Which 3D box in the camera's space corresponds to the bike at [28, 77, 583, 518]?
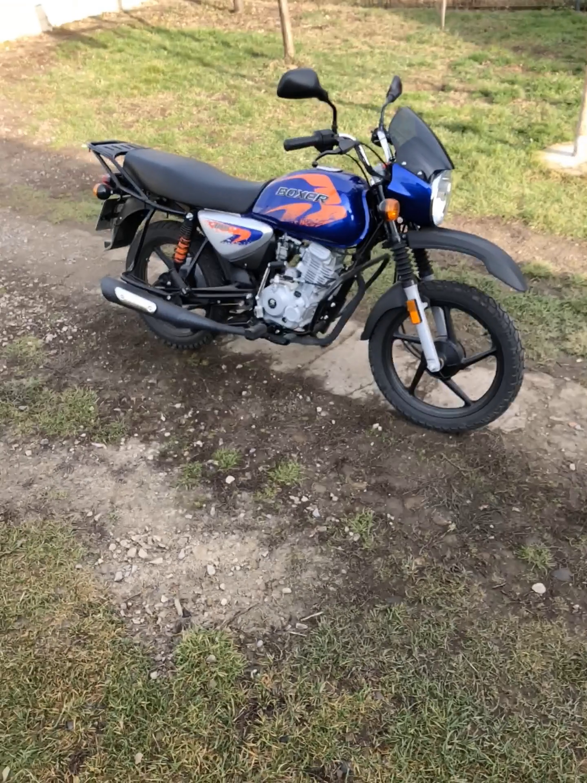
[{"bbox_3d":[0.027,-0.489,2.547,1.781,1.049,0.812,20,44,27],"label":"bike"}]
